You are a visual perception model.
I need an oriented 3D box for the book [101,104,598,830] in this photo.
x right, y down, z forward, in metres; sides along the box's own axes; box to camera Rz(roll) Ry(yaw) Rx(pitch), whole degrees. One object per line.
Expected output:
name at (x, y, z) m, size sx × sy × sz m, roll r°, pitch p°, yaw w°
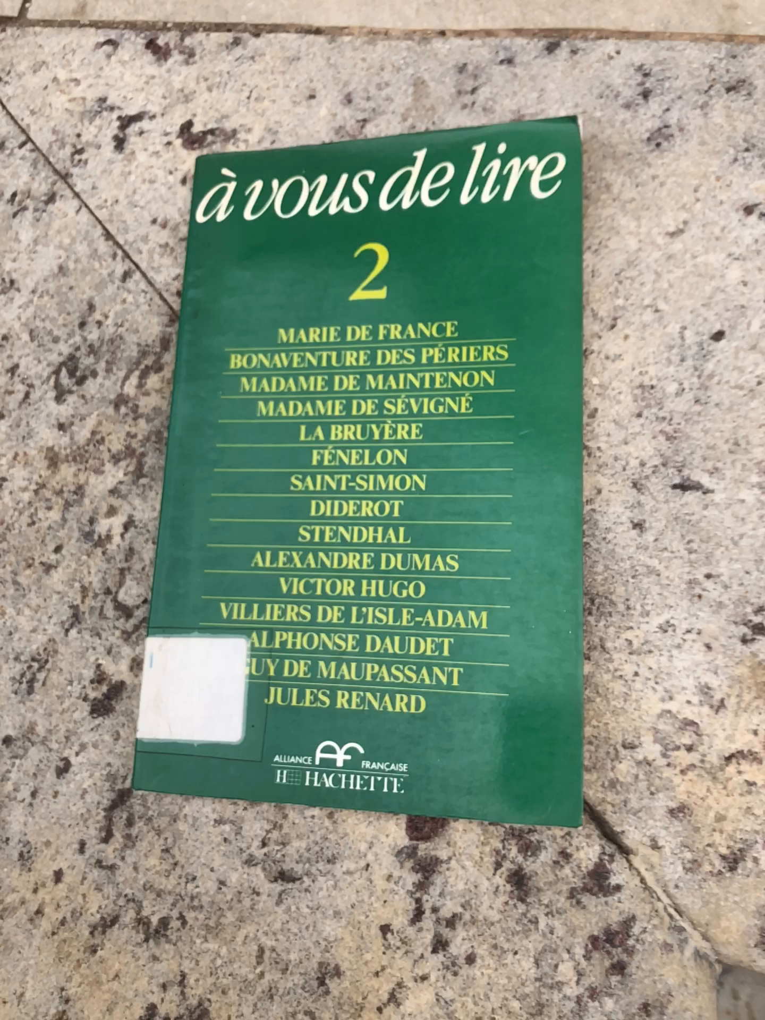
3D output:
book at (-0.006, -0.020, 0.264) m, size 0.140 × 0.017 × 0.210 m, roll 0°, pitch 76°, yaw 14°
